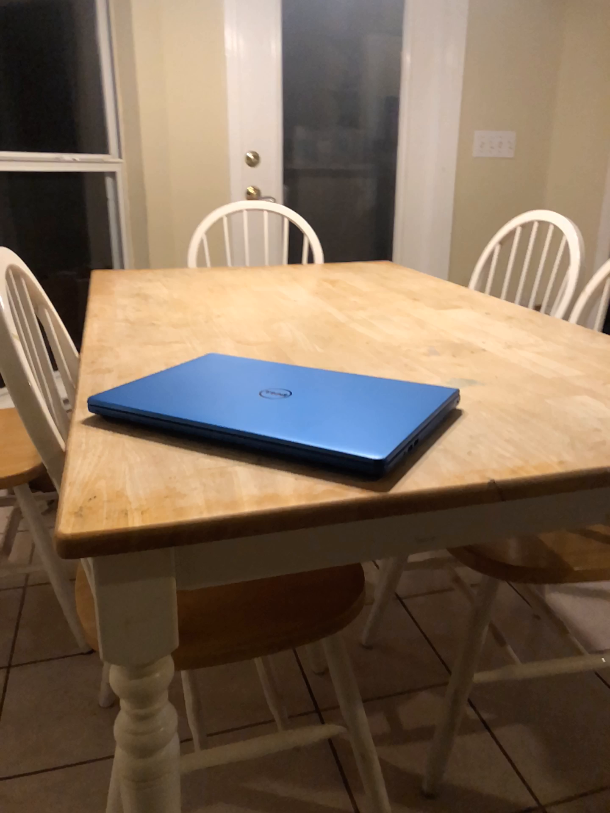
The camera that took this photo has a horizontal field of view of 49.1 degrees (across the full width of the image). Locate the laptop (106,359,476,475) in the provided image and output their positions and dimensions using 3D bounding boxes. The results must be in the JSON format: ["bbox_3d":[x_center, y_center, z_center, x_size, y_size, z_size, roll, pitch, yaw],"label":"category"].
[{"bbox_3d":[-0.012,-0.004,0.841,0.388,0.001,0.260,10,22,27],"label":"laptop"}]
